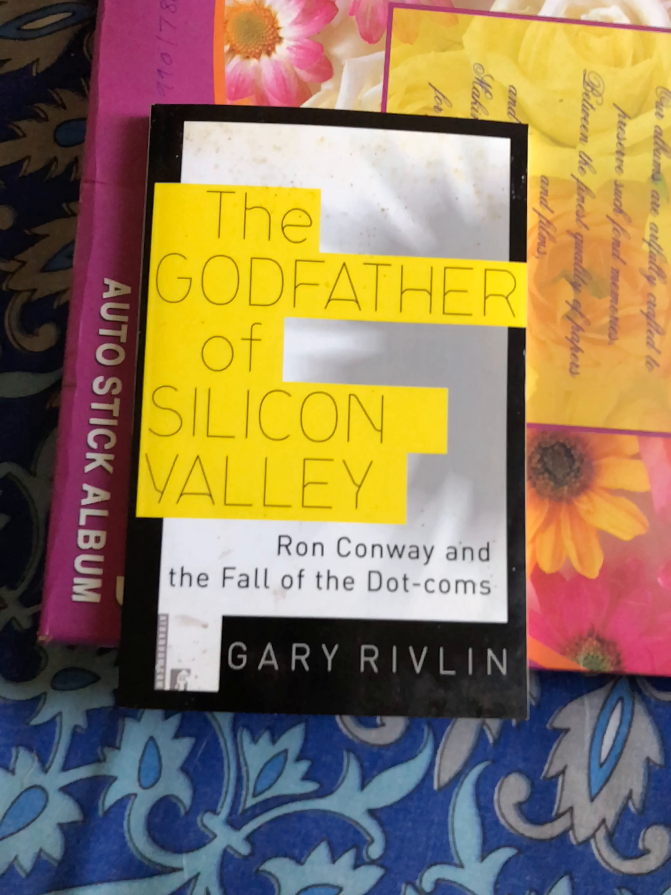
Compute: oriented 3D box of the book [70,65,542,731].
[{"bbox_3d":[-0.007,-0.018,0.266,0.150,0.020,0.220,3,87,-2],"label":"book"}]
